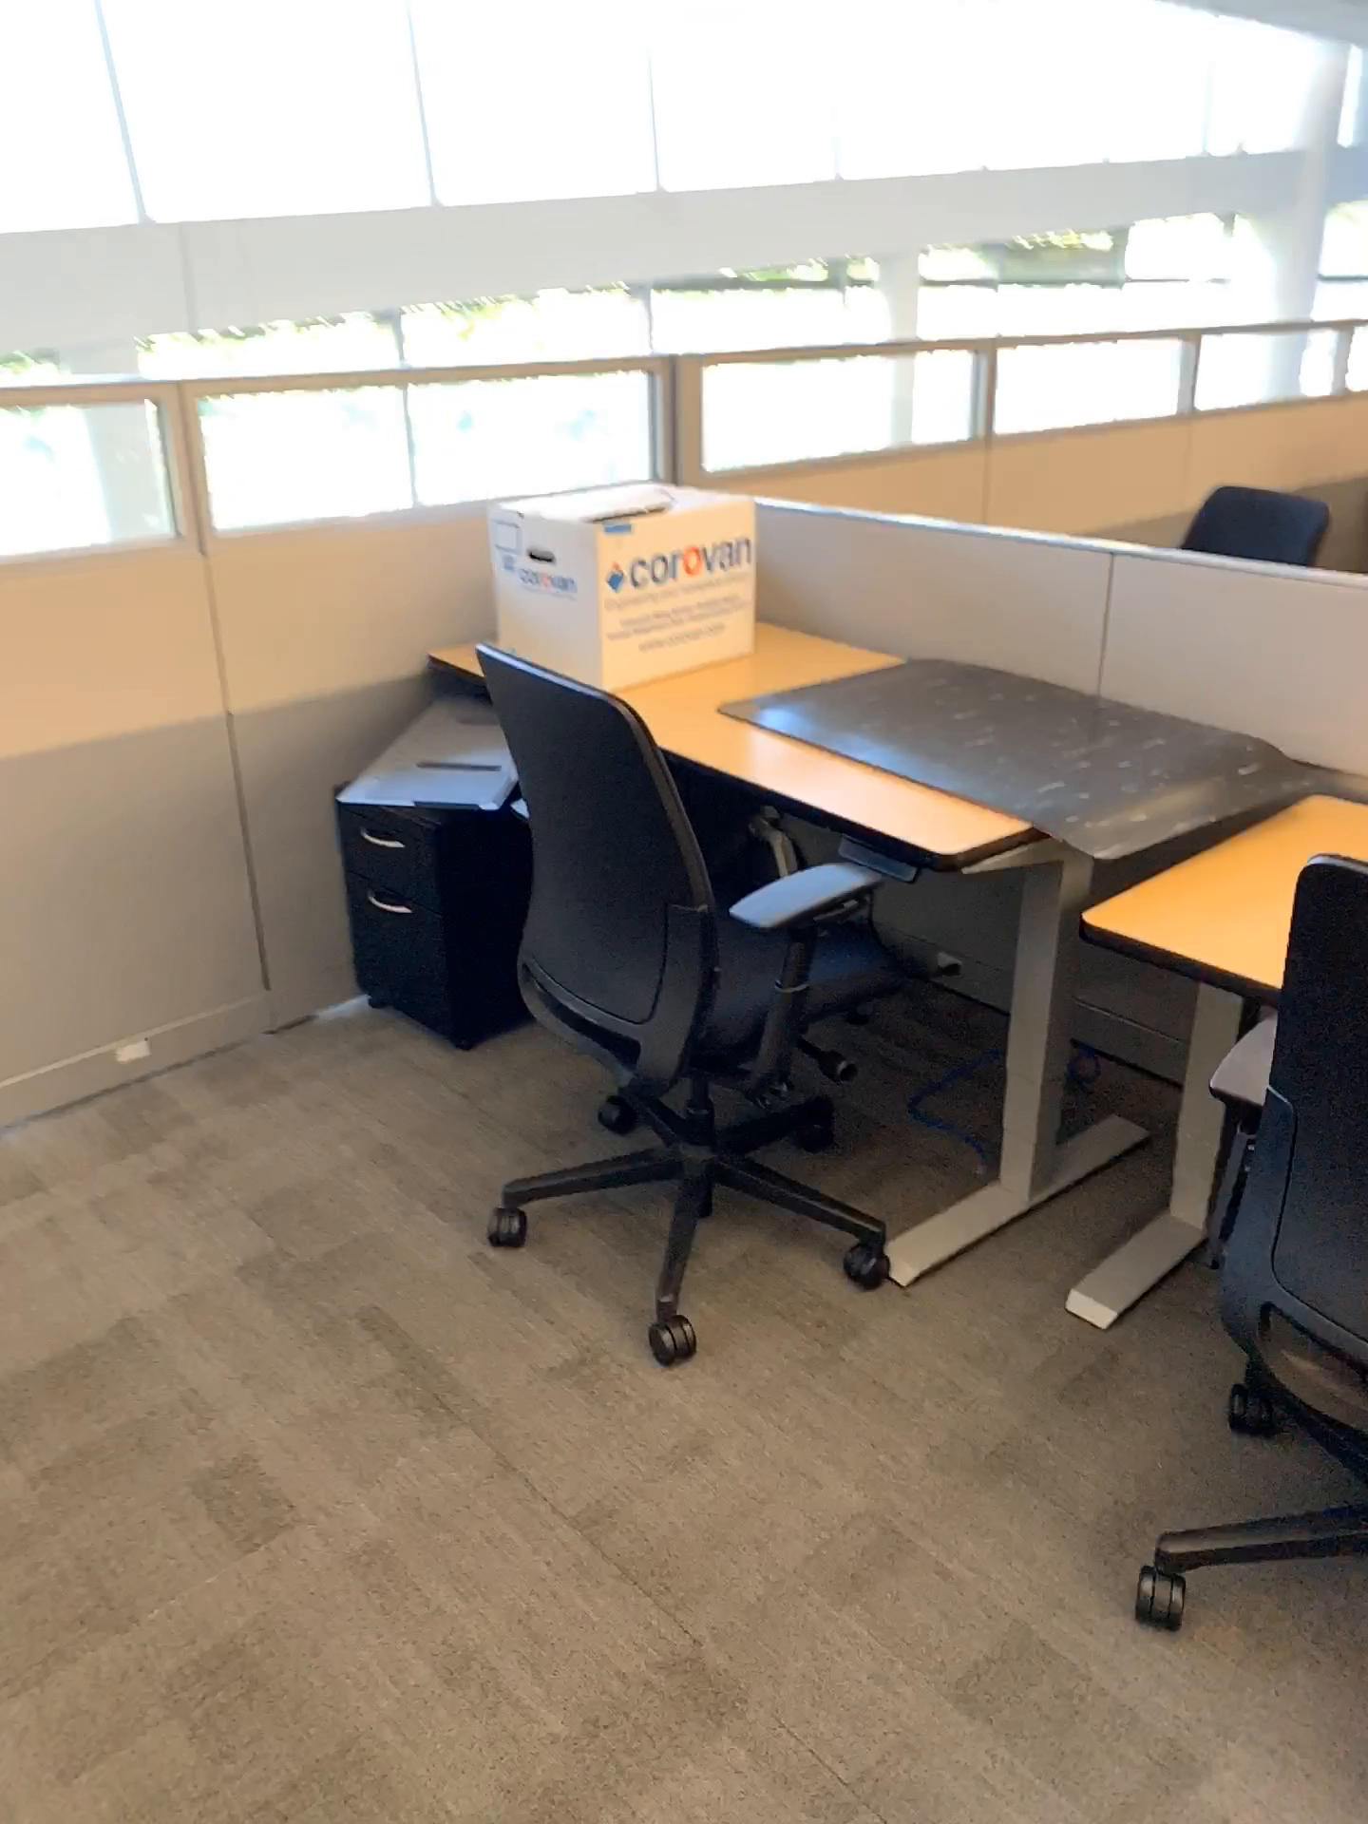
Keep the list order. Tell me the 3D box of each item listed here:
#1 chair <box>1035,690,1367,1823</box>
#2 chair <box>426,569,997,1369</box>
[{"bbox_3d":[0.788,0.368,1.402,0.581,0.995,0.522,-21,31,-39],"label":"chair"},{"bbox_3d":[0.031,0.042,2.187,0.600,0.995,0.563,-16,28,-31],"label":"chair"}]
